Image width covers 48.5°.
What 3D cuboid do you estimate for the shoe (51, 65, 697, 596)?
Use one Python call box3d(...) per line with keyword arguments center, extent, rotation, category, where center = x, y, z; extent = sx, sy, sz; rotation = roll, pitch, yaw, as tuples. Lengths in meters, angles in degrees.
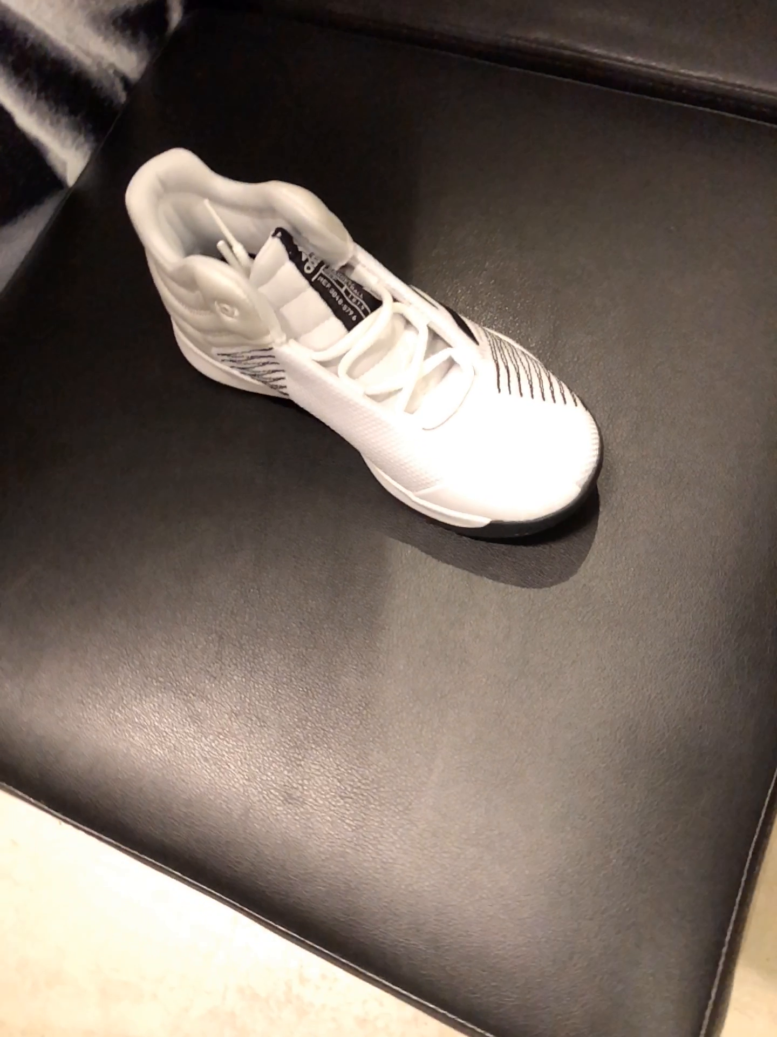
box3d(center=(-0.006, -0.078, 0.367), extent=(0.220, 0.110, 0.100), rotation=(29, 76, 17), category="shoe")
